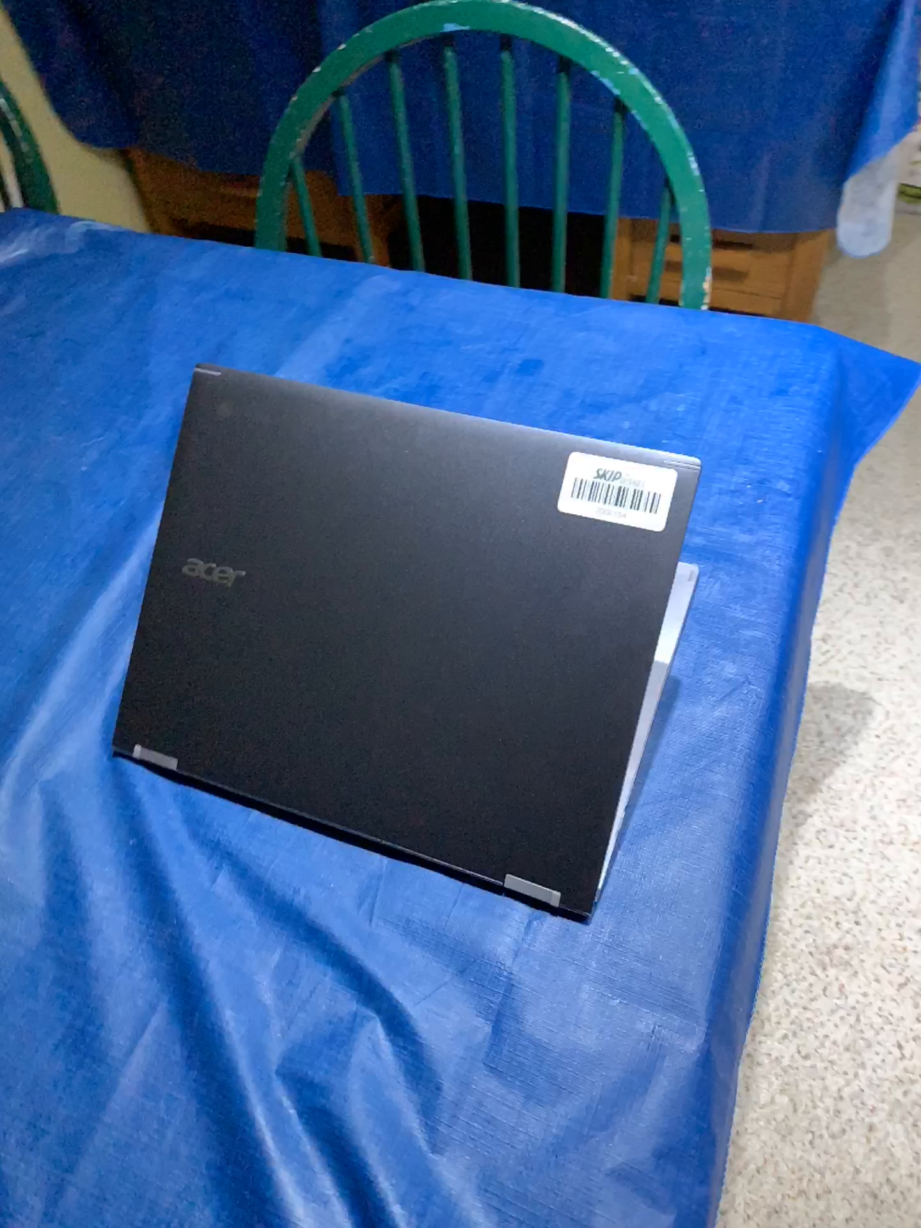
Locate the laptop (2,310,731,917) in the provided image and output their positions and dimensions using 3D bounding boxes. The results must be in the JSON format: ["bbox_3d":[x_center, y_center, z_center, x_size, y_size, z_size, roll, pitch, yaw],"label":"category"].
[{"bbox_3d":[-0.033,-0.018,0.547,0.303,0.151,0.251,15,56,18],"label":"laptop"}]
